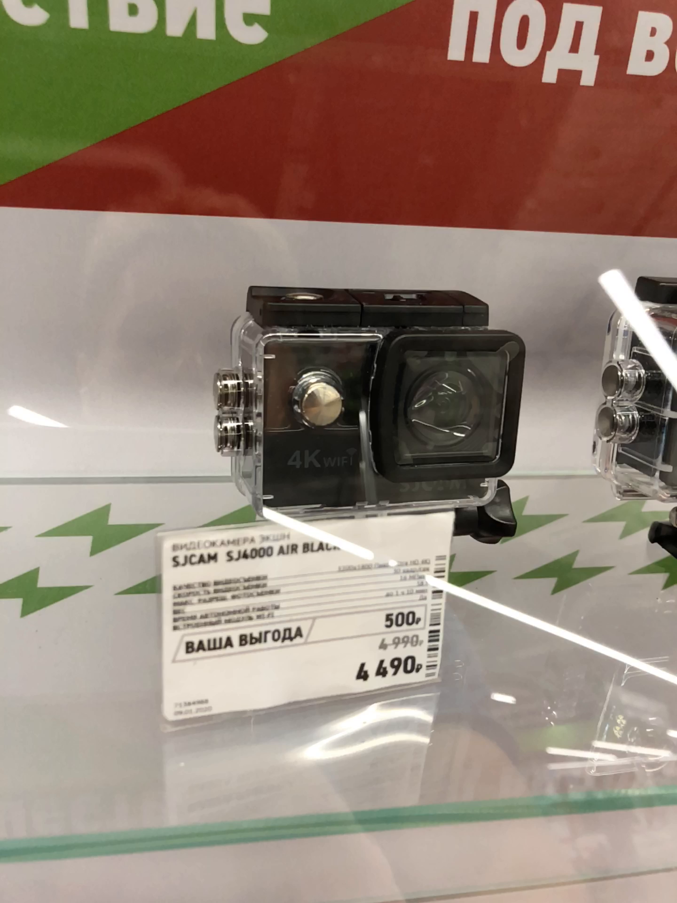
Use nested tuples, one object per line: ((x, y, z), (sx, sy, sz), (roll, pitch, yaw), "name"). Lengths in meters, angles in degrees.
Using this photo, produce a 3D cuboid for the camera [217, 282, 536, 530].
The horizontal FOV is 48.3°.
((0.008, -0.015, 0.198), (0.074, 0.056, 0.033), (-3, 16, -16), "camera")
